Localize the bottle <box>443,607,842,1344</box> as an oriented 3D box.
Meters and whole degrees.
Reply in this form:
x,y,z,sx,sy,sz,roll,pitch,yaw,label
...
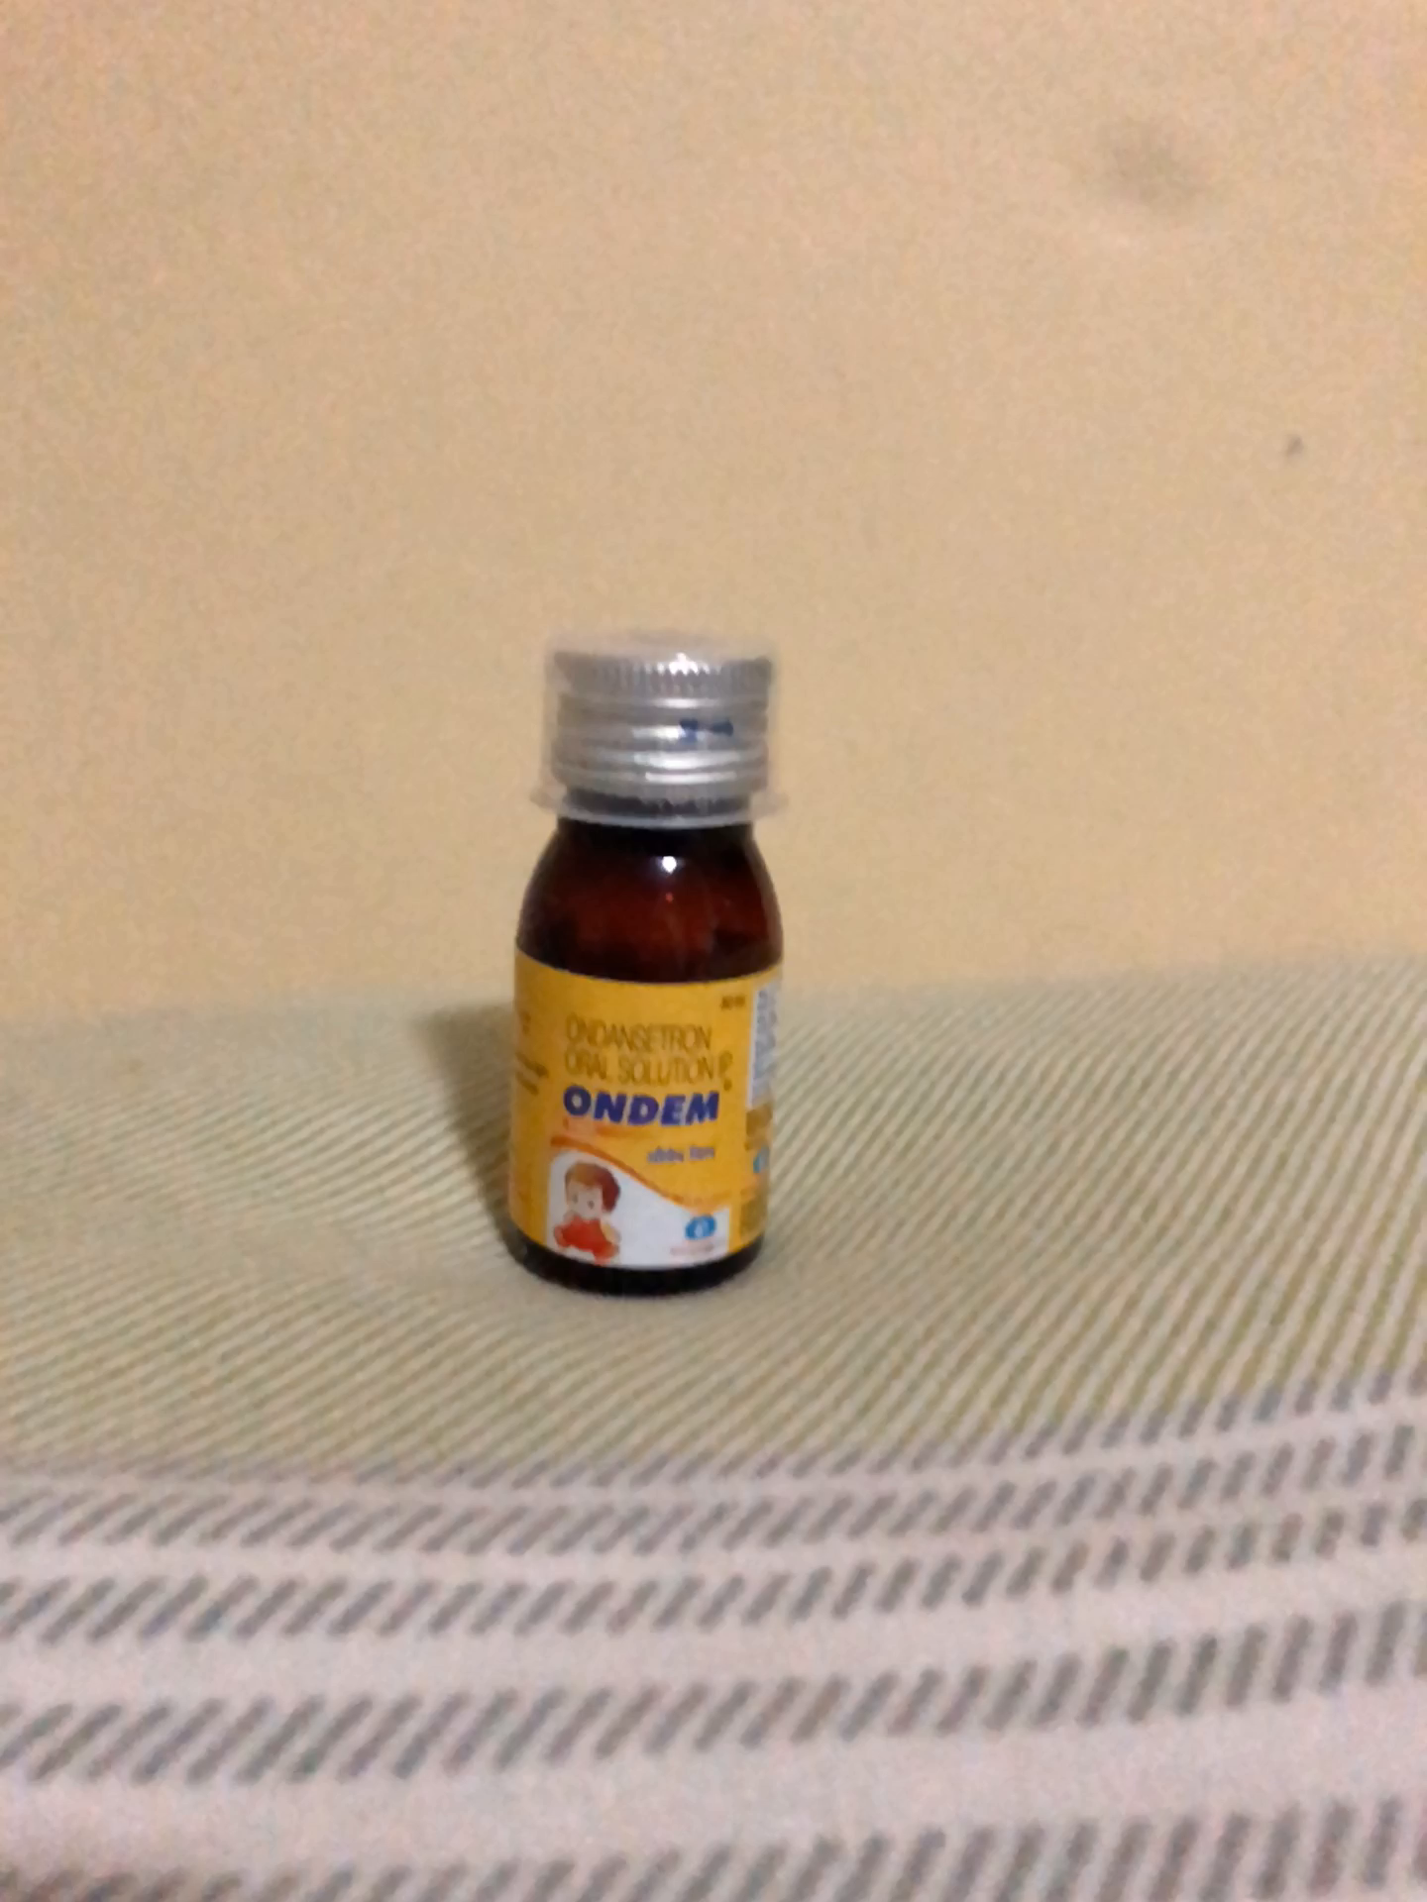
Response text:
x,y,z,sx,sy,sz,roll,pitch,yaw,label
-0.008,0.001,0.200,0.040,0.080,0.040,3,16,-1,bottle
